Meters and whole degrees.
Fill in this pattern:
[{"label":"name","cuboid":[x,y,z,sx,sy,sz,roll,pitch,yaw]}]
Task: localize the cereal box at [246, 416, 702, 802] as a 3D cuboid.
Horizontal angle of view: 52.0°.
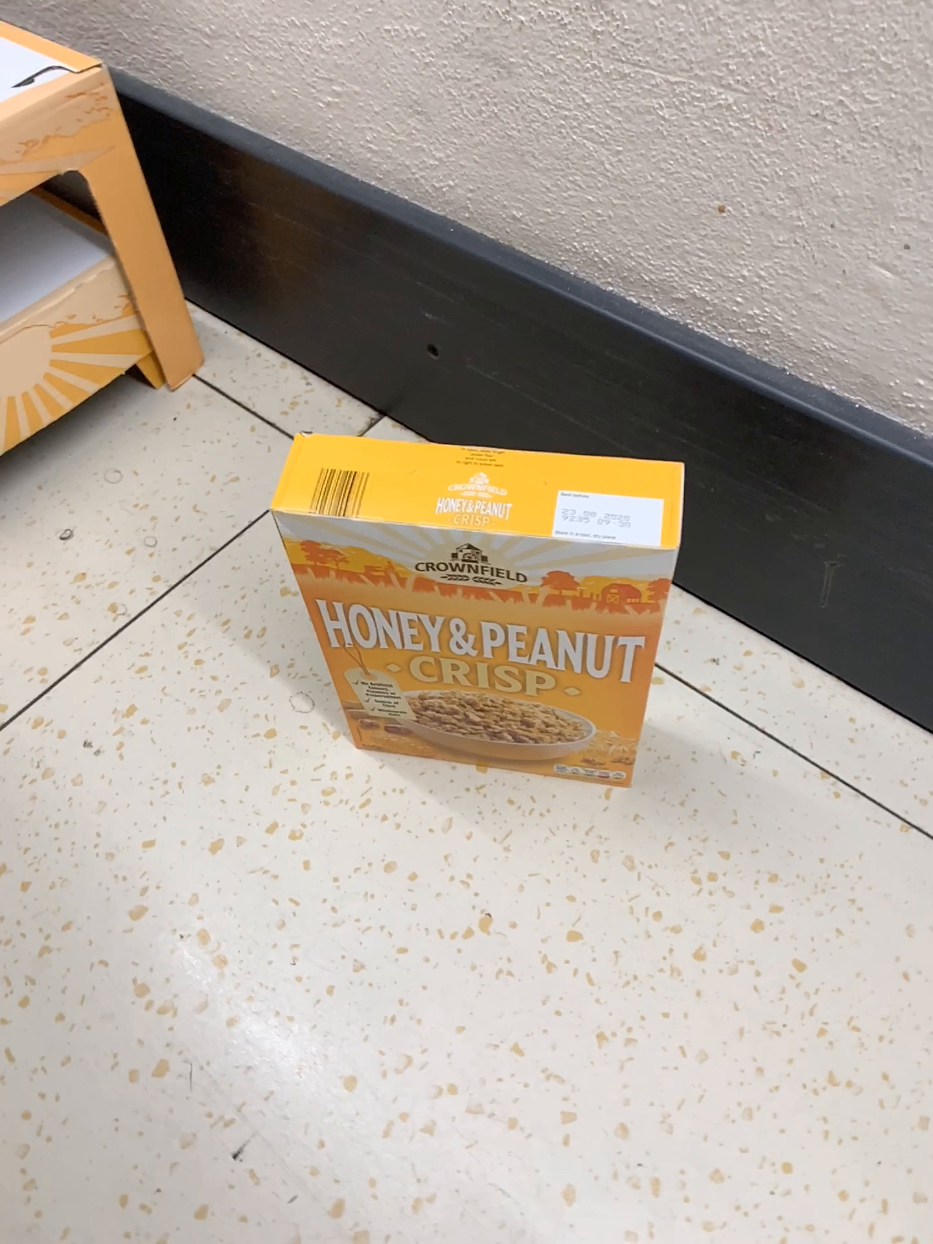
[{"label":"cereal box","cuboid":[0.011,0.010,0.521,0.190,0.268,0.050,6,57,7]}]
